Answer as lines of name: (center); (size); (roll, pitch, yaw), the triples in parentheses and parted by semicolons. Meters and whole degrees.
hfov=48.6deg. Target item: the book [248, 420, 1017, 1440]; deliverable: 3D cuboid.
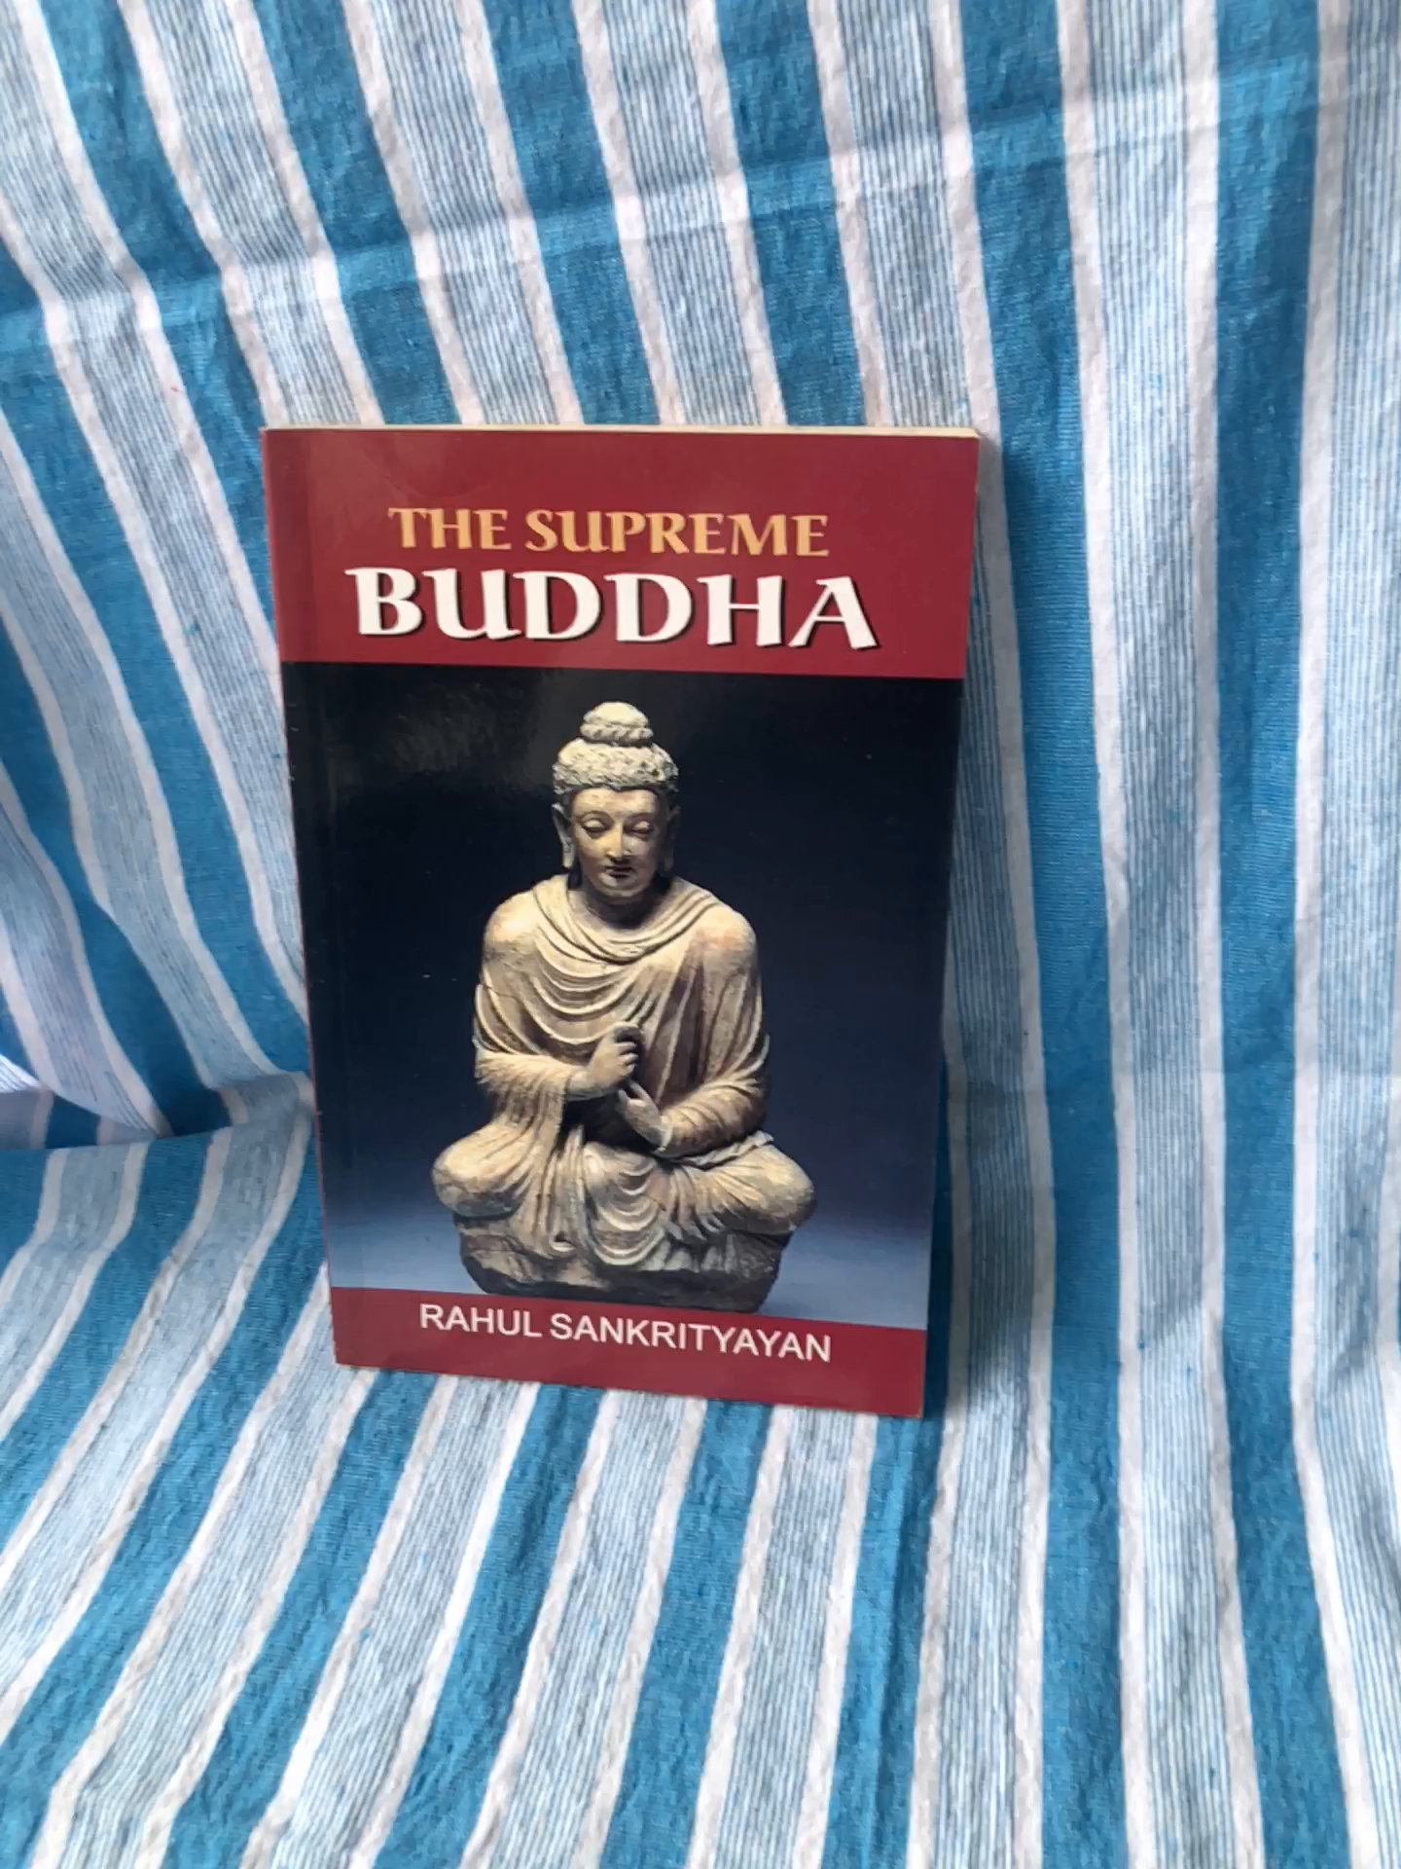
book: (-0.015, 0.004, 0.340); (0.150, 0.219, 0.020); (3, 18, 8)
